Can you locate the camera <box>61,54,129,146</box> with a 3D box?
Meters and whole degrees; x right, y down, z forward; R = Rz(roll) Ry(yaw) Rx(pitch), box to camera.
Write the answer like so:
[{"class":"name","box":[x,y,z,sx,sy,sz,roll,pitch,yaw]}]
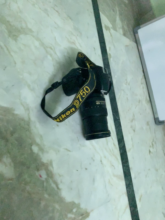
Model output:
[{"class":"camera","box":[0.036,-0.022,0.511,0.140,0.100,0.232,3,73,-44]}]
